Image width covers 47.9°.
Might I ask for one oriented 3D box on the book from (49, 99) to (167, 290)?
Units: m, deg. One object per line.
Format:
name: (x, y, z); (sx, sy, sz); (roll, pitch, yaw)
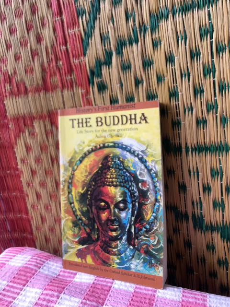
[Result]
book: (-0.013, 0.044, 0.324); (0.146, 0.207, 0.030); (-1, 0, 24)
